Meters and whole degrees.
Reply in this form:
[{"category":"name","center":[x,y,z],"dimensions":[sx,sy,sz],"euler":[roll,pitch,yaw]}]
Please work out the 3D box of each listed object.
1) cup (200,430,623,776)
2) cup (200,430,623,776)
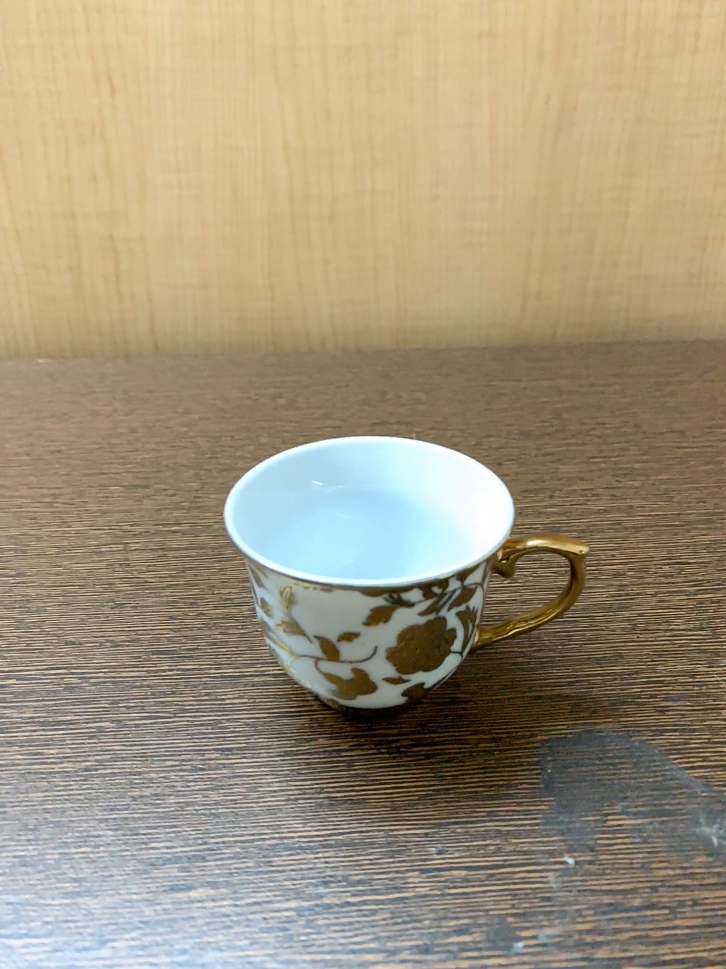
[{"category":"cup","center":[0.010,0.024,0.186],"dimensions":[0.080,0.050,0.071],"euler":[0,29,2]},{"category":"cup","center":[0.010,0.024,0.186],"dimensions":[0.080,0.050,0.071],"euler":[0,29,2]}]
